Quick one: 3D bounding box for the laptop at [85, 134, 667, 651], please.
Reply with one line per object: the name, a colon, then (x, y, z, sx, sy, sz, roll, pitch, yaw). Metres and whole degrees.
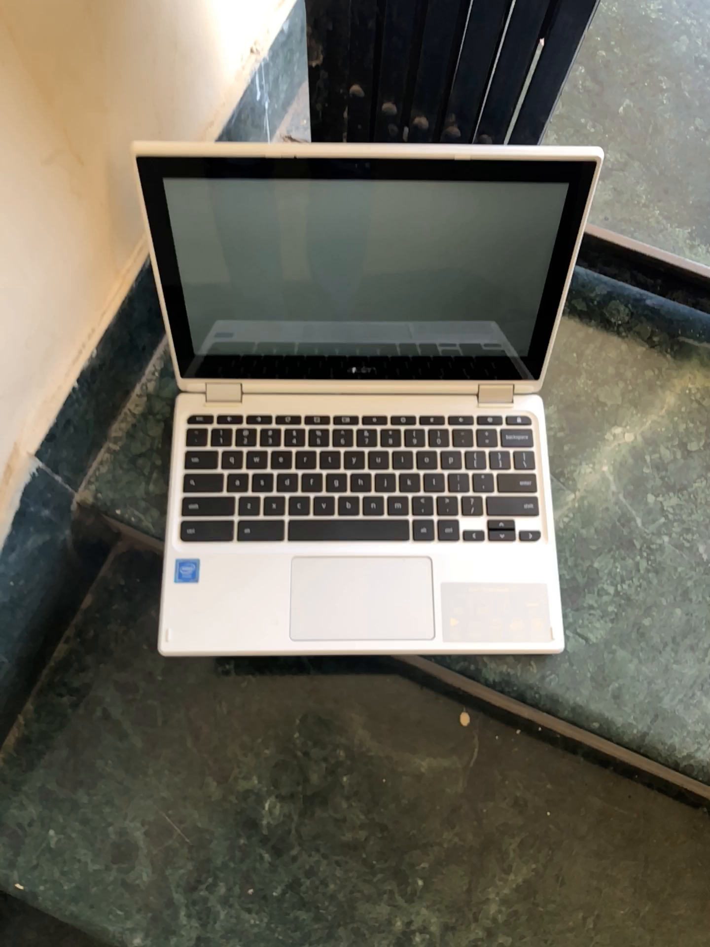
laptop: (0.009, -0.038, 0.500, 0.278, 0.178, 0.271, 0, 71, -2)
